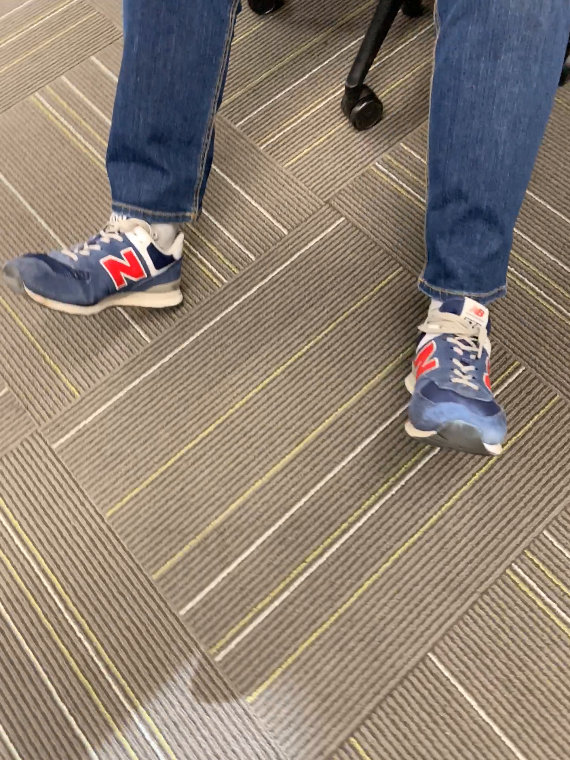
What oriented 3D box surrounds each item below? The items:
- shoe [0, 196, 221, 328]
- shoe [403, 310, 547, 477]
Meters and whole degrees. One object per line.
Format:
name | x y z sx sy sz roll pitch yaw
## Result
shoe | -0.244 -0.174 0.858 0.120 0.296 0.136 24 111 26
shoe | 0.214 -0.003 0.718 0.114 0.303 0.096 9 109 8
